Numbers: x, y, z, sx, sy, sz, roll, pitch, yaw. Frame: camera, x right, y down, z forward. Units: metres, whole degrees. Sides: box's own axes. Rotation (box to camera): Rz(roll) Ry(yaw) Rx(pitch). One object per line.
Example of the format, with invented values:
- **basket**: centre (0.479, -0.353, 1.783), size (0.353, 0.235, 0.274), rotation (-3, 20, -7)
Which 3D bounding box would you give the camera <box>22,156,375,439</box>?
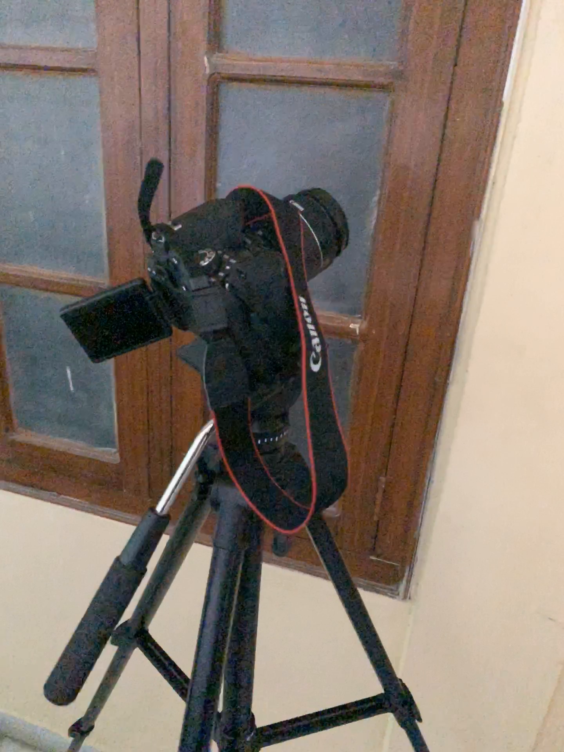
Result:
- **camera**: centre (-0.062, -0.080, 0.469), size (0.226, 0.100, 0.142), rotation (-35, 39, -22)
